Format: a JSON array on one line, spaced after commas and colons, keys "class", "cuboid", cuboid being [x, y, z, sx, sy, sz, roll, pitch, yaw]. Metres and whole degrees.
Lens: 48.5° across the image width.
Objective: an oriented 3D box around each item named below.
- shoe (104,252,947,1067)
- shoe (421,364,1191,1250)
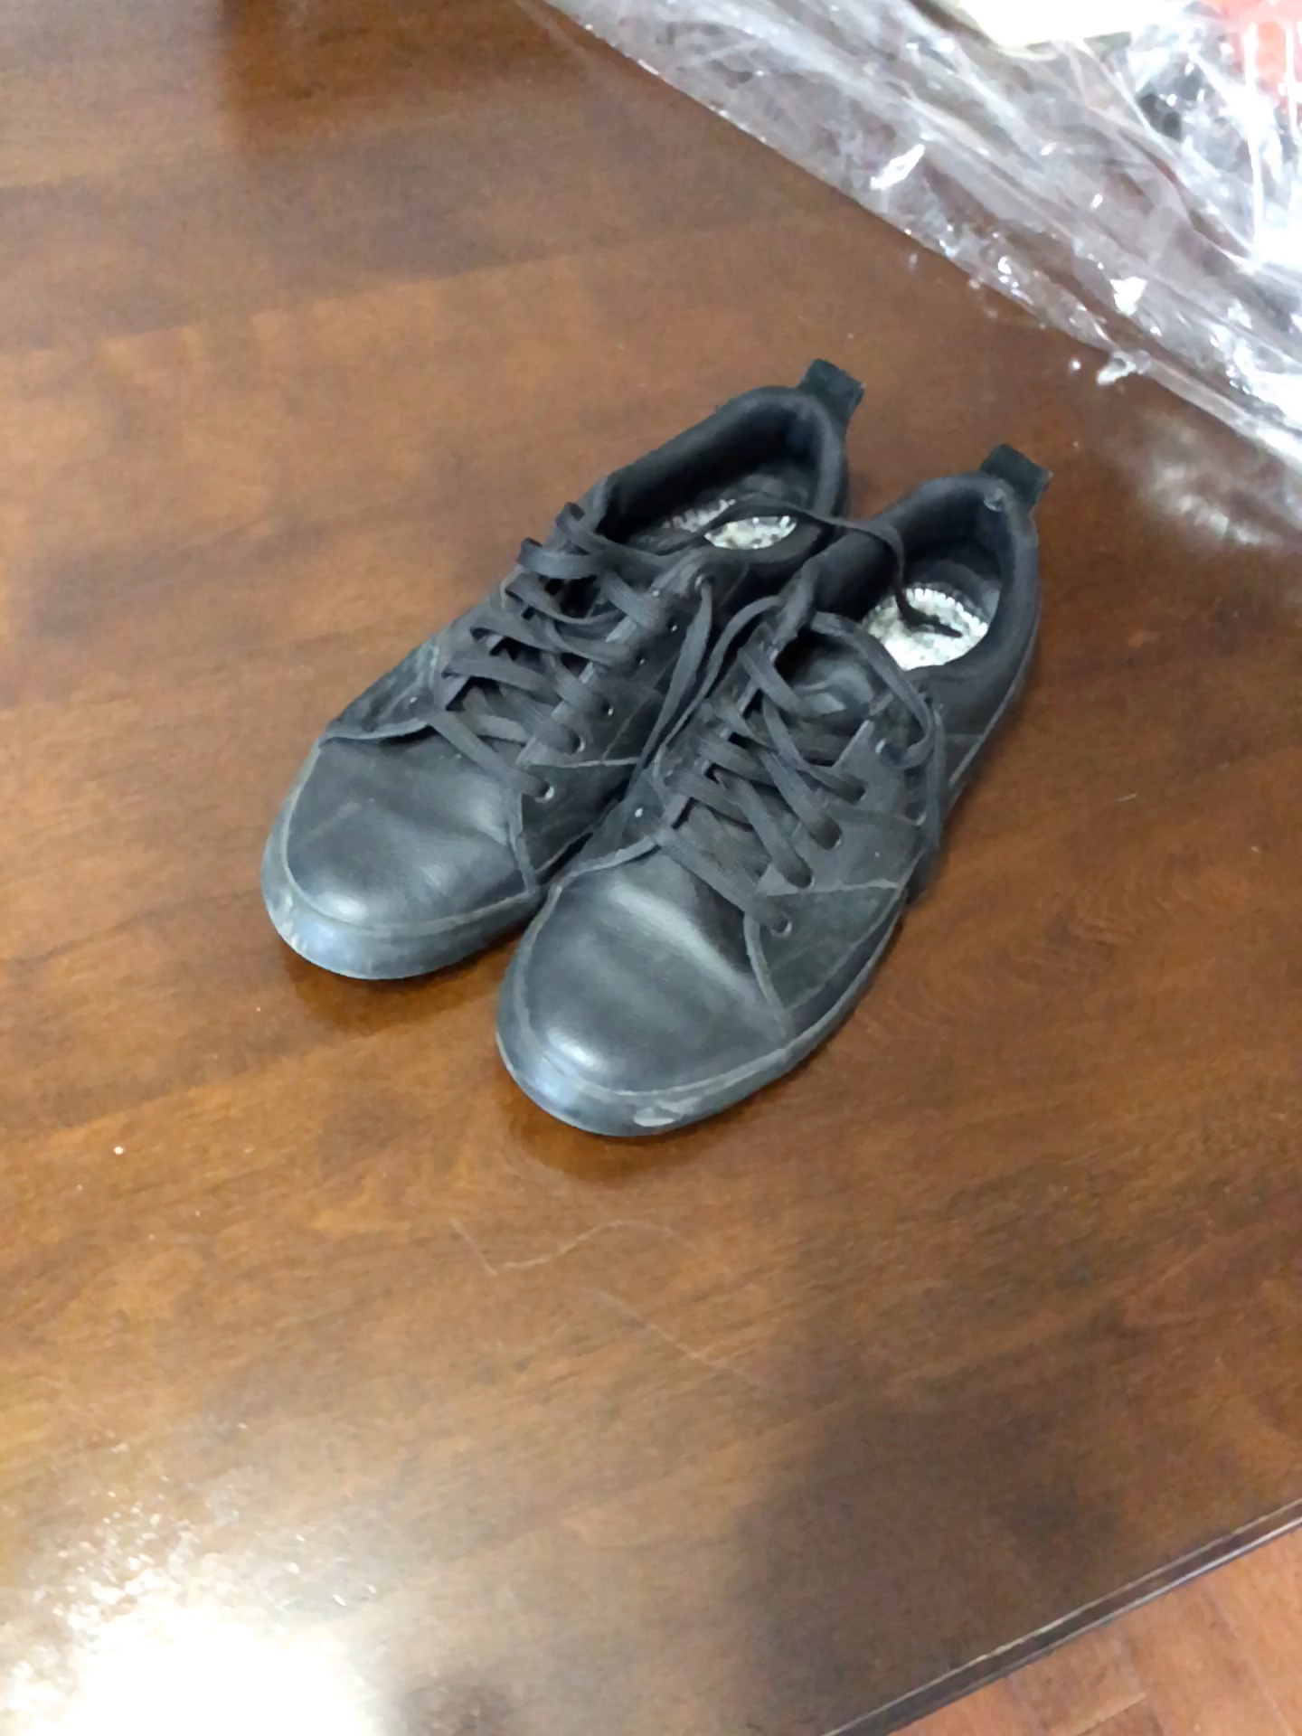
[{"class": "shoe", "cuboid": [-0.032, -0.086, 0.534, 0.110, 0.110, 0.300, 38, 63, 15]}, {"class": "shoe", "cuboid": [0.060, -0.032, 0.514, 0.110, 0.110, 0.300, 33, 62, 13]}]
